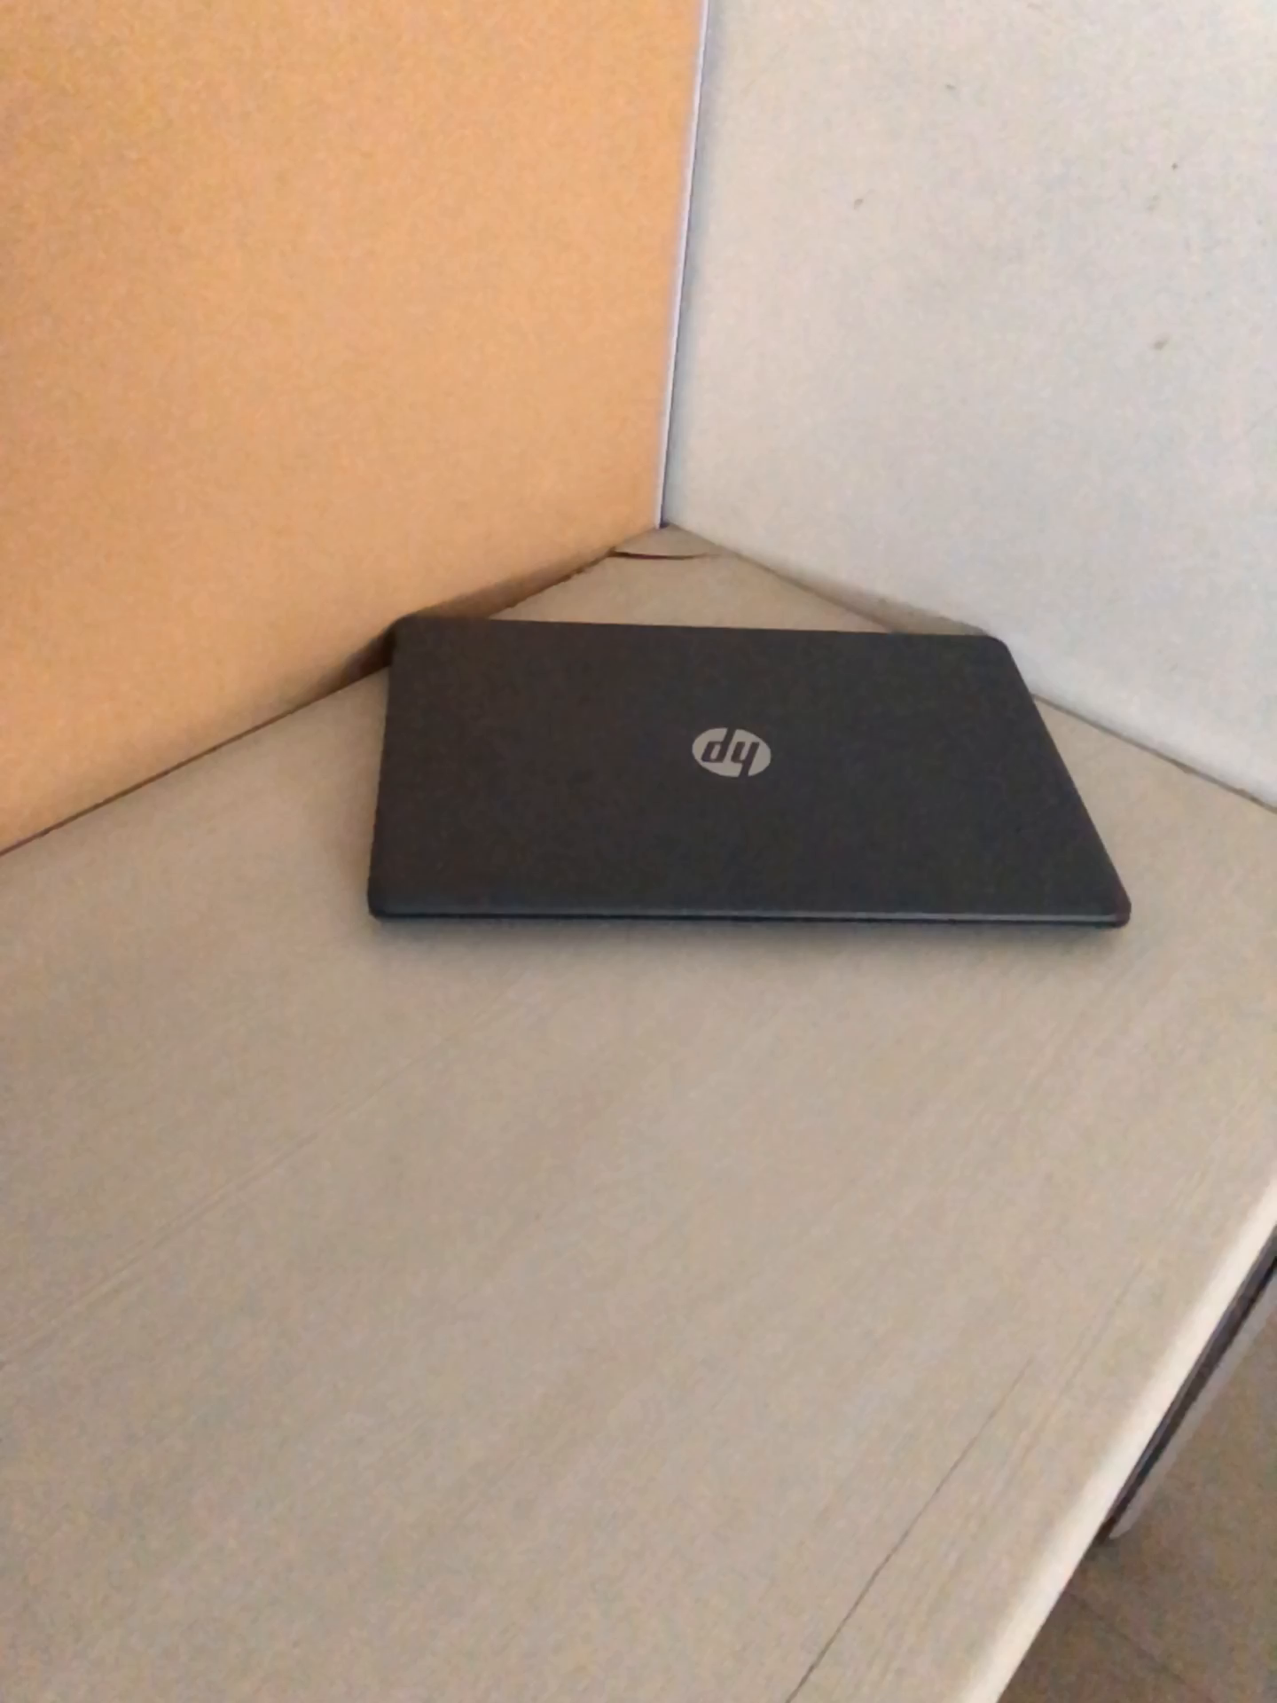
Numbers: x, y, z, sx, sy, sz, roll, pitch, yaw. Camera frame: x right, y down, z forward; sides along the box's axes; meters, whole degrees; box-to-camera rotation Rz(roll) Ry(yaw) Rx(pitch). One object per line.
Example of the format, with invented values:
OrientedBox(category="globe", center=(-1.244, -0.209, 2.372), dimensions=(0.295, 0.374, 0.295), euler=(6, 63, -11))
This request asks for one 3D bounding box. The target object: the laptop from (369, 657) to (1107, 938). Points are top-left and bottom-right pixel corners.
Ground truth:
OrientedBox(category="laptop", center=(0.045, -0.037, 0.761), dimensions=(0.356, 0.004, 0.237), euler=(0, 40, -5))
